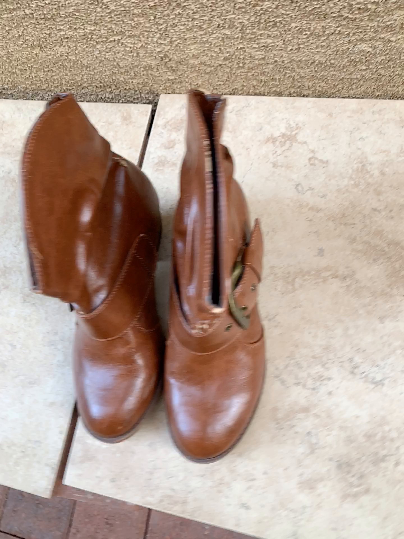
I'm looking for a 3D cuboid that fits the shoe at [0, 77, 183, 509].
[{"bbox_3d":[-0.095,0.022,0.333,0.095,0.199,0.245,1,73,12],"label":"shoe"}]

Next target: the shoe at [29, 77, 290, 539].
[{"bbox_3d":[0.003,0.029,0.312,0.100,0.199,0.245,5,74,13],"label":"shoe"}]
